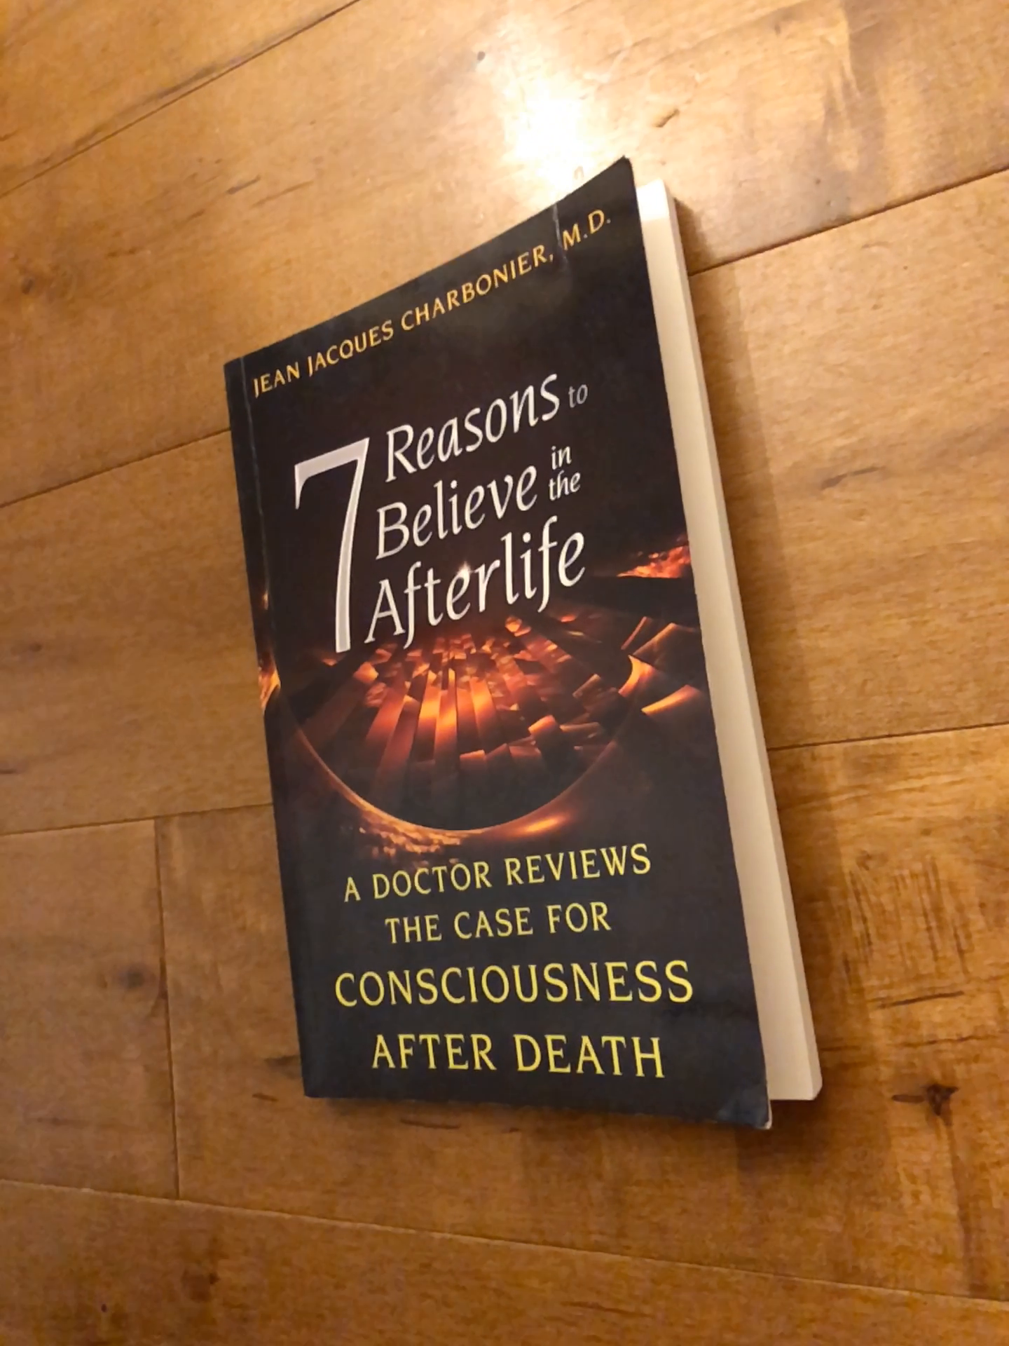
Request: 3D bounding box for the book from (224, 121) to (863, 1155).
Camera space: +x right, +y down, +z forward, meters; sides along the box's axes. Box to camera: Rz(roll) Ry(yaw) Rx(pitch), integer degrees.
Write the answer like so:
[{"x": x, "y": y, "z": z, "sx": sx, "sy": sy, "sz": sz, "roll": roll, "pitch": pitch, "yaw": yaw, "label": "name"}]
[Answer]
[{"x": -0.004, "y": -0.001, "z": 0.327, "sx": 0.171, "sy": 0.030, "sz": 0.250, "roll": -13, "pitch": 80, "yaw": 36, "label": "book"}]
